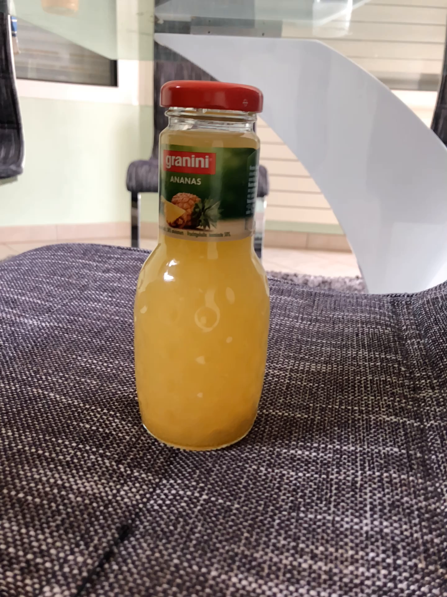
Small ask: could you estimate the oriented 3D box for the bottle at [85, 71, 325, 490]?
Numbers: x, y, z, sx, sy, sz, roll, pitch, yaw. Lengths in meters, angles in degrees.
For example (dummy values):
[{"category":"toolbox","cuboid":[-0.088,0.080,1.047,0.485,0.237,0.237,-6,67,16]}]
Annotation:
[{"category":"bottle","cuboid":[-0.007,-0.012,0.214,0.070,0.149,0.070,3,18,-1]}]
